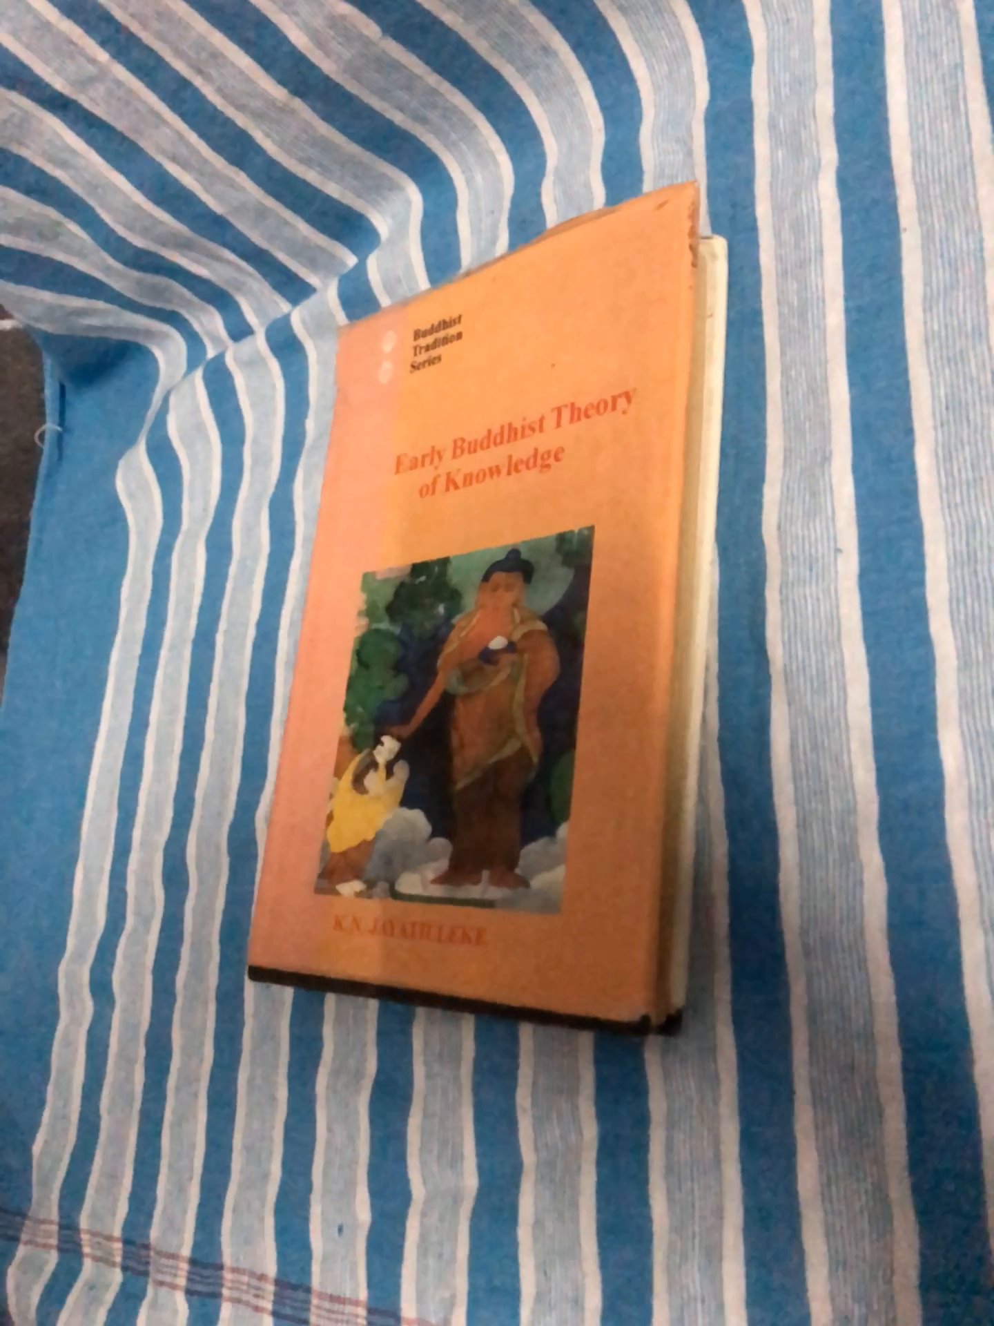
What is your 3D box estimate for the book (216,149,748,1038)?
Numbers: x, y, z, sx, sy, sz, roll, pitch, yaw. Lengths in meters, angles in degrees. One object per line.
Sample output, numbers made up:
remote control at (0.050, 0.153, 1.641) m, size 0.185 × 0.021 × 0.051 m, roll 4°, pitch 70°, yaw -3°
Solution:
book at (-0.007, -0.017, 0.317) m, size 0.150 × 0.030 × 0.220 m, roll -7°, pitch 71°, yaw 39°
